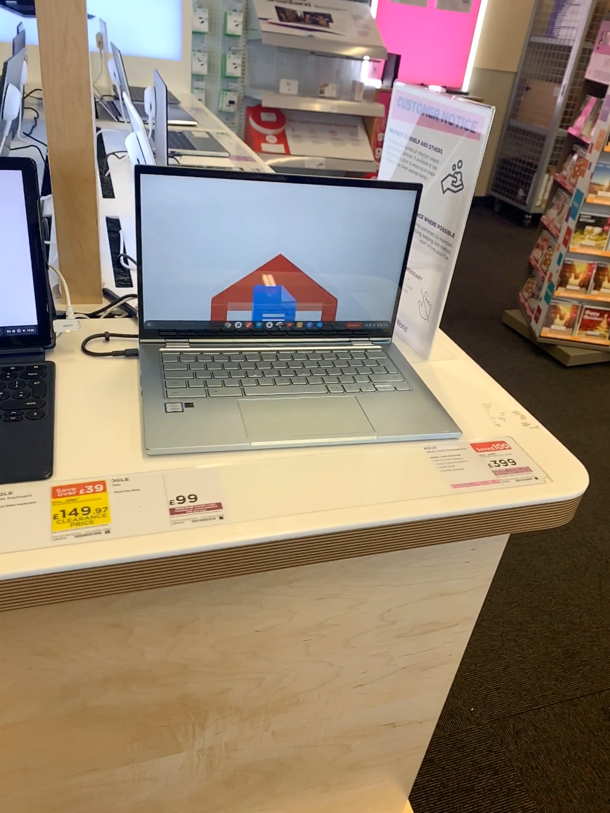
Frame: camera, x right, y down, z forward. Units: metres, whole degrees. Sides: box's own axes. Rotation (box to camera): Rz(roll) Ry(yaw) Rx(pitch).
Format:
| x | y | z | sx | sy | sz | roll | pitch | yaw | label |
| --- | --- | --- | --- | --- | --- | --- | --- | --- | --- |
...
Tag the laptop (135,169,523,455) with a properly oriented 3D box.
| x | y | z | sx | sy | sz | roll | pitch | yaw | label |
| --- | --- | --- | --- | --- | --- | --- | --- | --- | --- |
| -0.001 | -0.101 | 0.630 | 0.317 | 0.195 | 0.205 | -2 | 34 | -15 | laptop |
